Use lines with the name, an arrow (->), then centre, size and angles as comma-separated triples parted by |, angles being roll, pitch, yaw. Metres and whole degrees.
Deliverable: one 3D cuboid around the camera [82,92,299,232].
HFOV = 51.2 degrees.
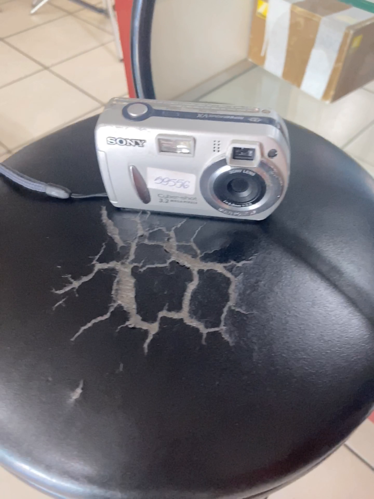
camera -> 0.004, -0.047, 0.210 | 0.100, 0.050, 0.040 | 7, 52, 6
